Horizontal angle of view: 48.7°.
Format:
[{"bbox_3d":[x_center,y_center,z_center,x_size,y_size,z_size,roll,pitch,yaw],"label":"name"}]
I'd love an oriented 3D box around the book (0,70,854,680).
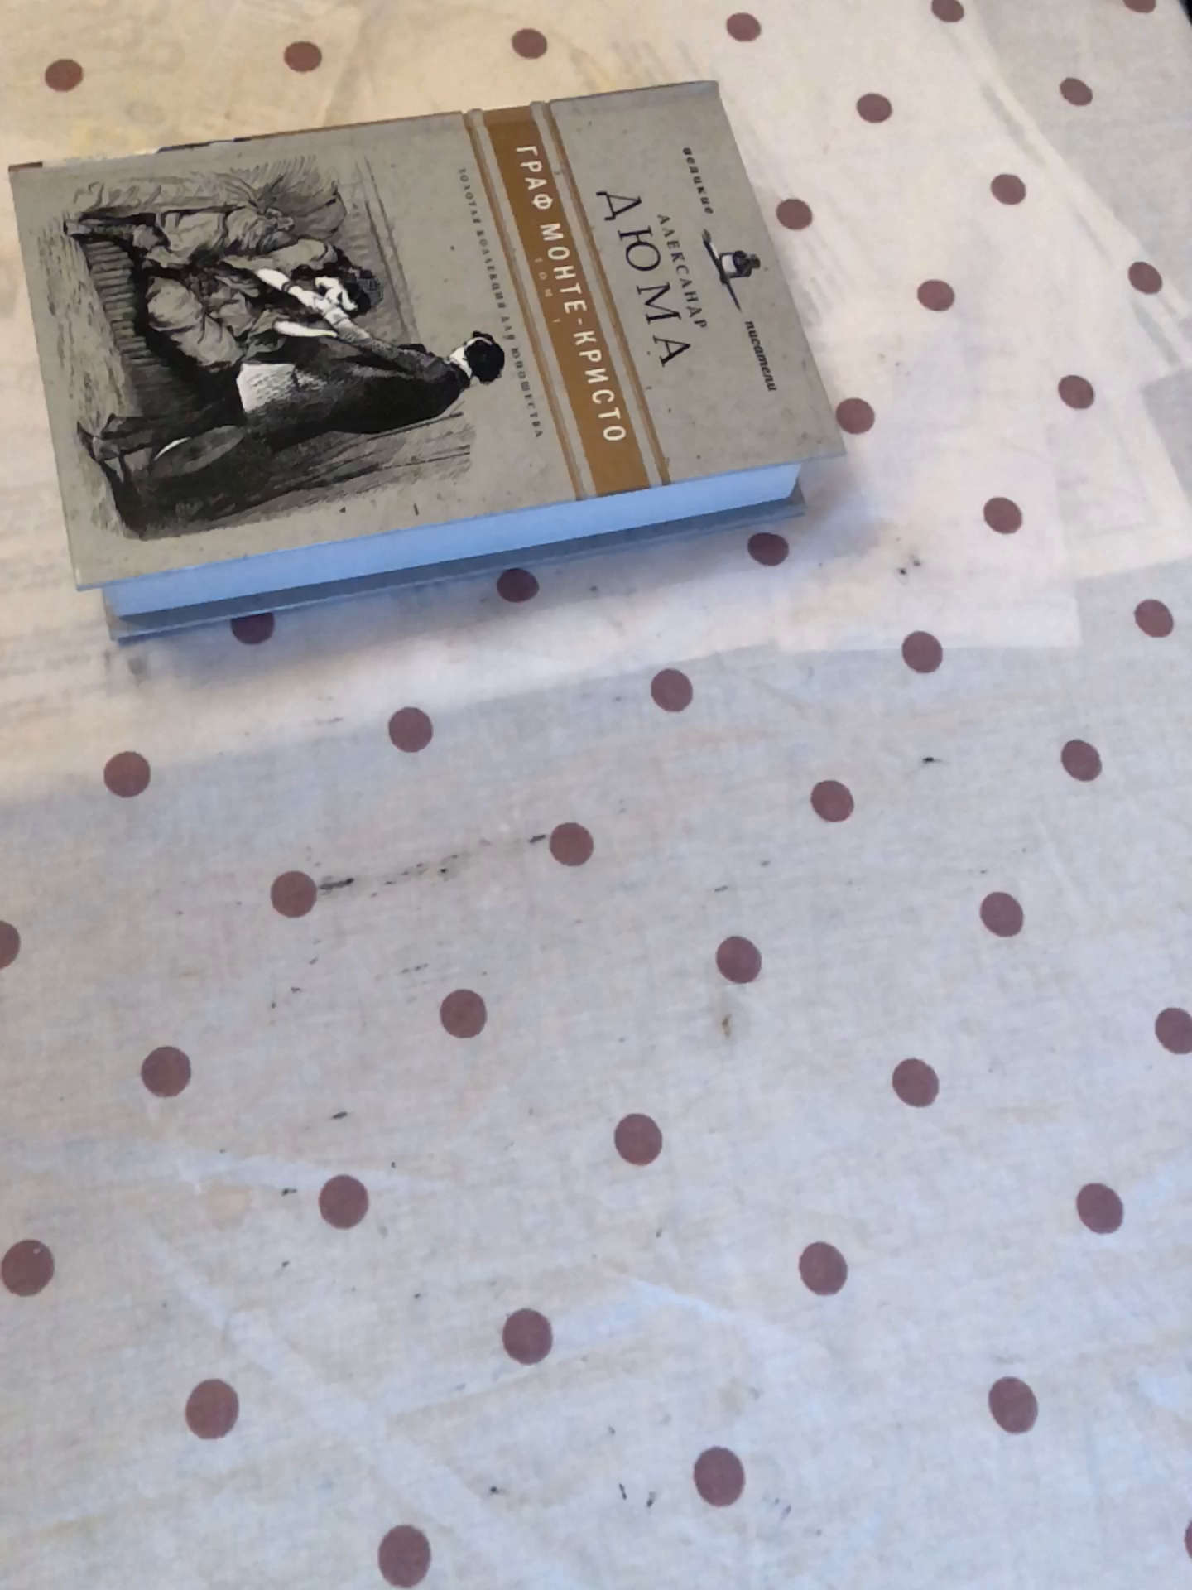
[{"bbox_3d":[-0.051,-0.122,0.370,0.208,0.040,0.135,-12,74,-9],"label":"book"}]
